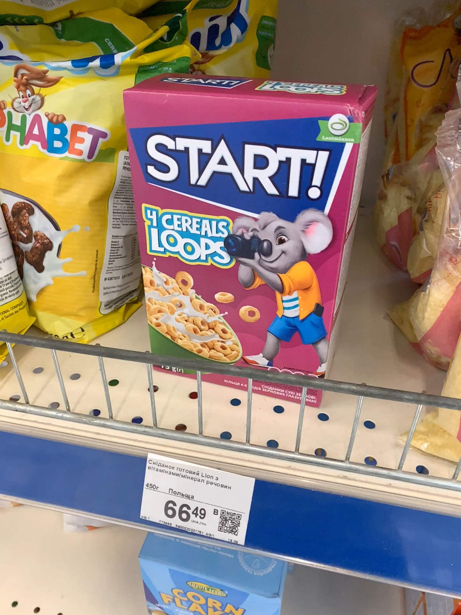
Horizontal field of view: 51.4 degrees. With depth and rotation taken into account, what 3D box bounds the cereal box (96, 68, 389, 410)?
[{"bbox_3d":[0.007,-0.033,0.255,0.120,0.159,0.050,10,35,15],"label":"cereal box"}]
